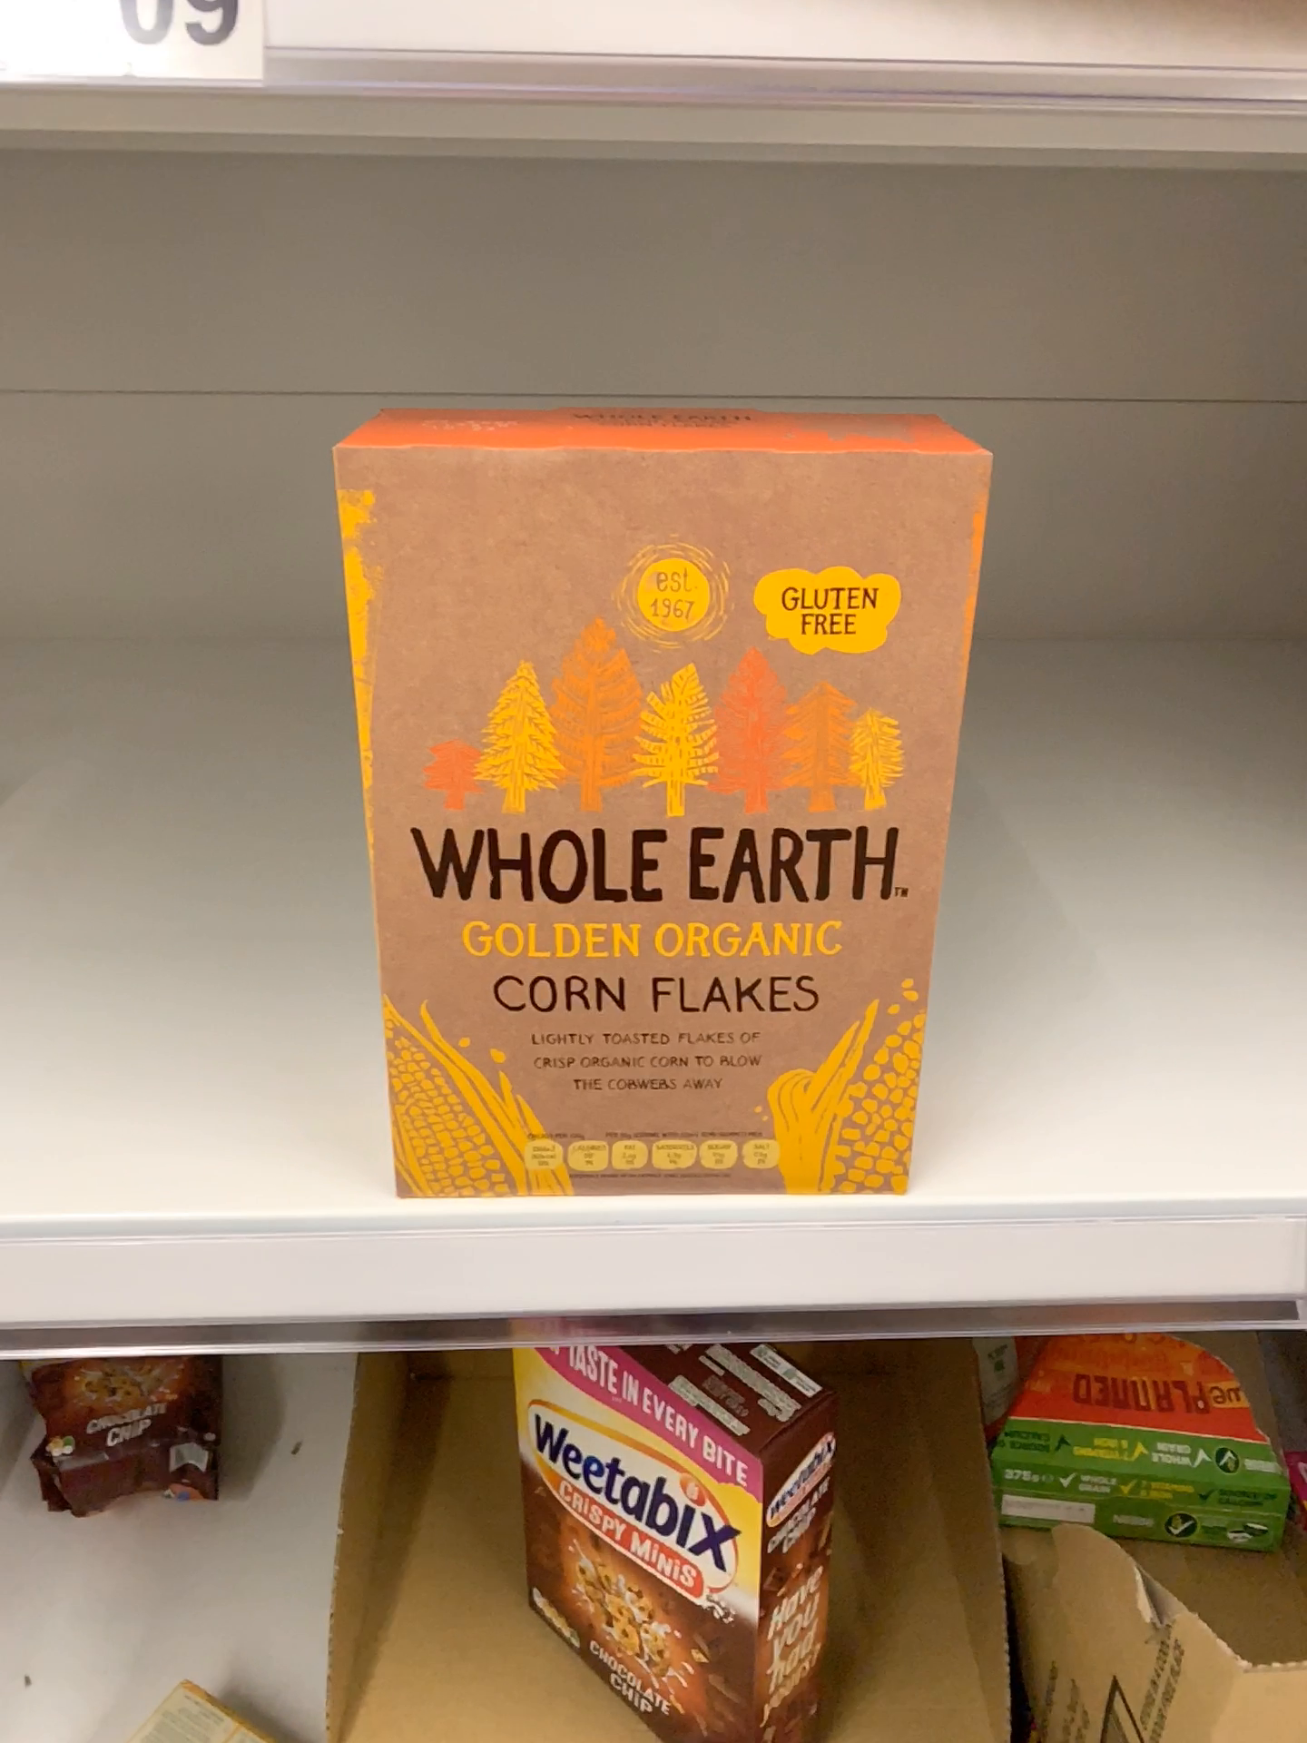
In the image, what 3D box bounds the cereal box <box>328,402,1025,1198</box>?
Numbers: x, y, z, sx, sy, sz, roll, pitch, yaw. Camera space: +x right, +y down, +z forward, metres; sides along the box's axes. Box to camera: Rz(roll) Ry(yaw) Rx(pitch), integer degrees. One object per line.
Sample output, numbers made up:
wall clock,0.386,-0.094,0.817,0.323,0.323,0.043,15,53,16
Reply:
cereal box,0.004,-0.021,0.481,0.200,0.268,0.091,0,25,-1
